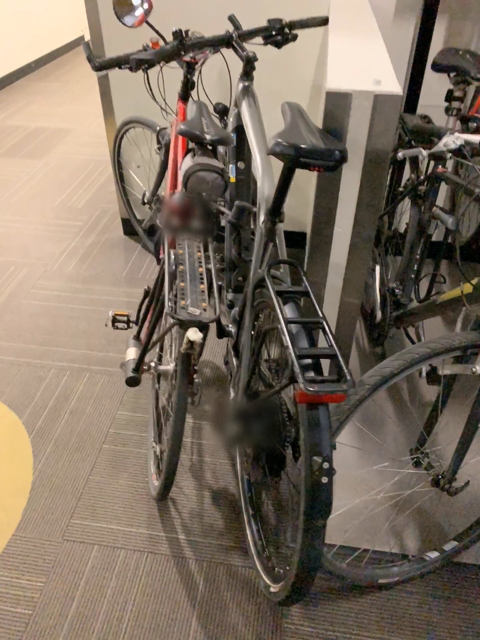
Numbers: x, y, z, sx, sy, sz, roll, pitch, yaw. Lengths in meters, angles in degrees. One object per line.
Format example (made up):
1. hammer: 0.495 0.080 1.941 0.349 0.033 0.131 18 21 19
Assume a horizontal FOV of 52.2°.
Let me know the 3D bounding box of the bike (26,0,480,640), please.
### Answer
1. bike: 0.083 0.075 1.028 0.692 1.149 0.730 -8 46 -10

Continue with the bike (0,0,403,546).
1. bike: -0.261 -0.354 1.562 0.602 0.927 1.621 -9 45 -11
